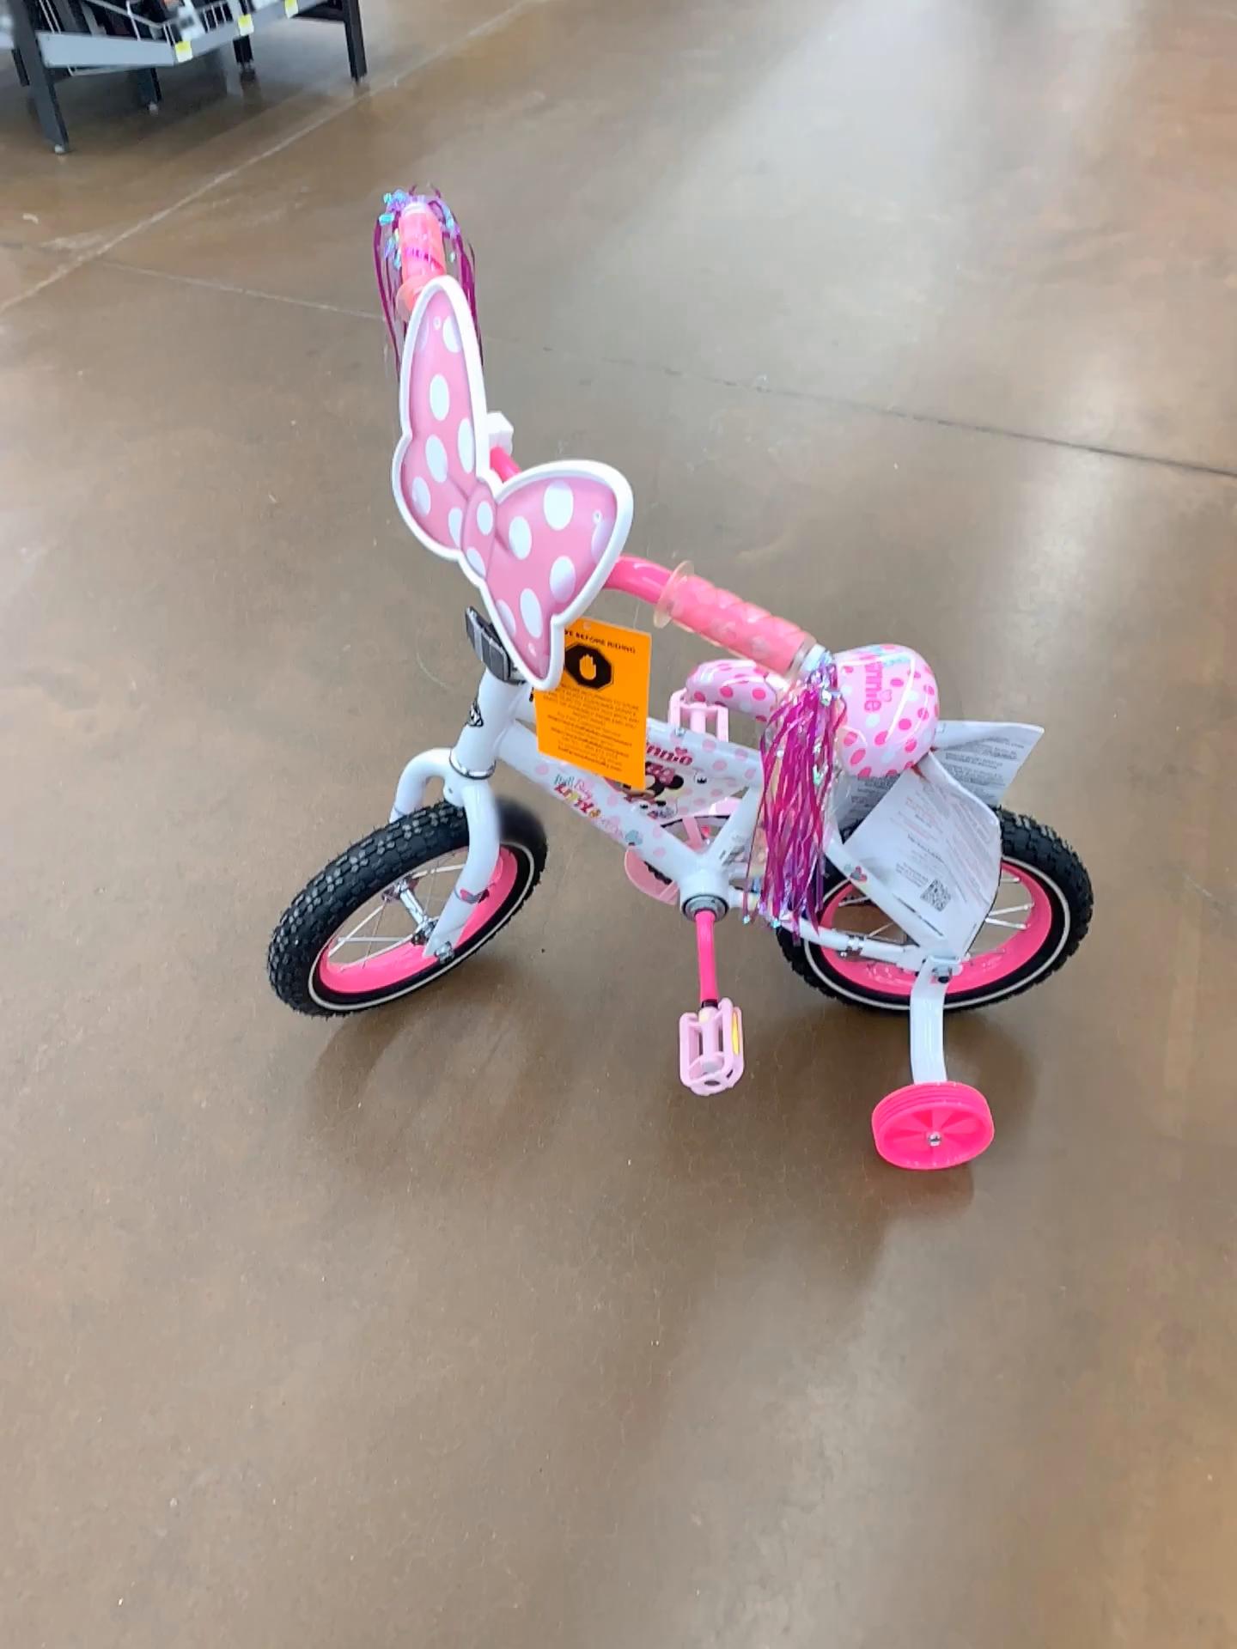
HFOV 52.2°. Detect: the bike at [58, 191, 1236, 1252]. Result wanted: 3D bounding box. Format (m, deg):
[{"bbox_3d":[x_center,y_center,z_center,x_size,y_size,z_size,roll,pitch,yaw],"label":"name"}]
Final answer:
[{"bbox_3d":[0.056,-0.040,1.073,0.776,0.707,0.429,-5,45,0],"label":"bike"}]
